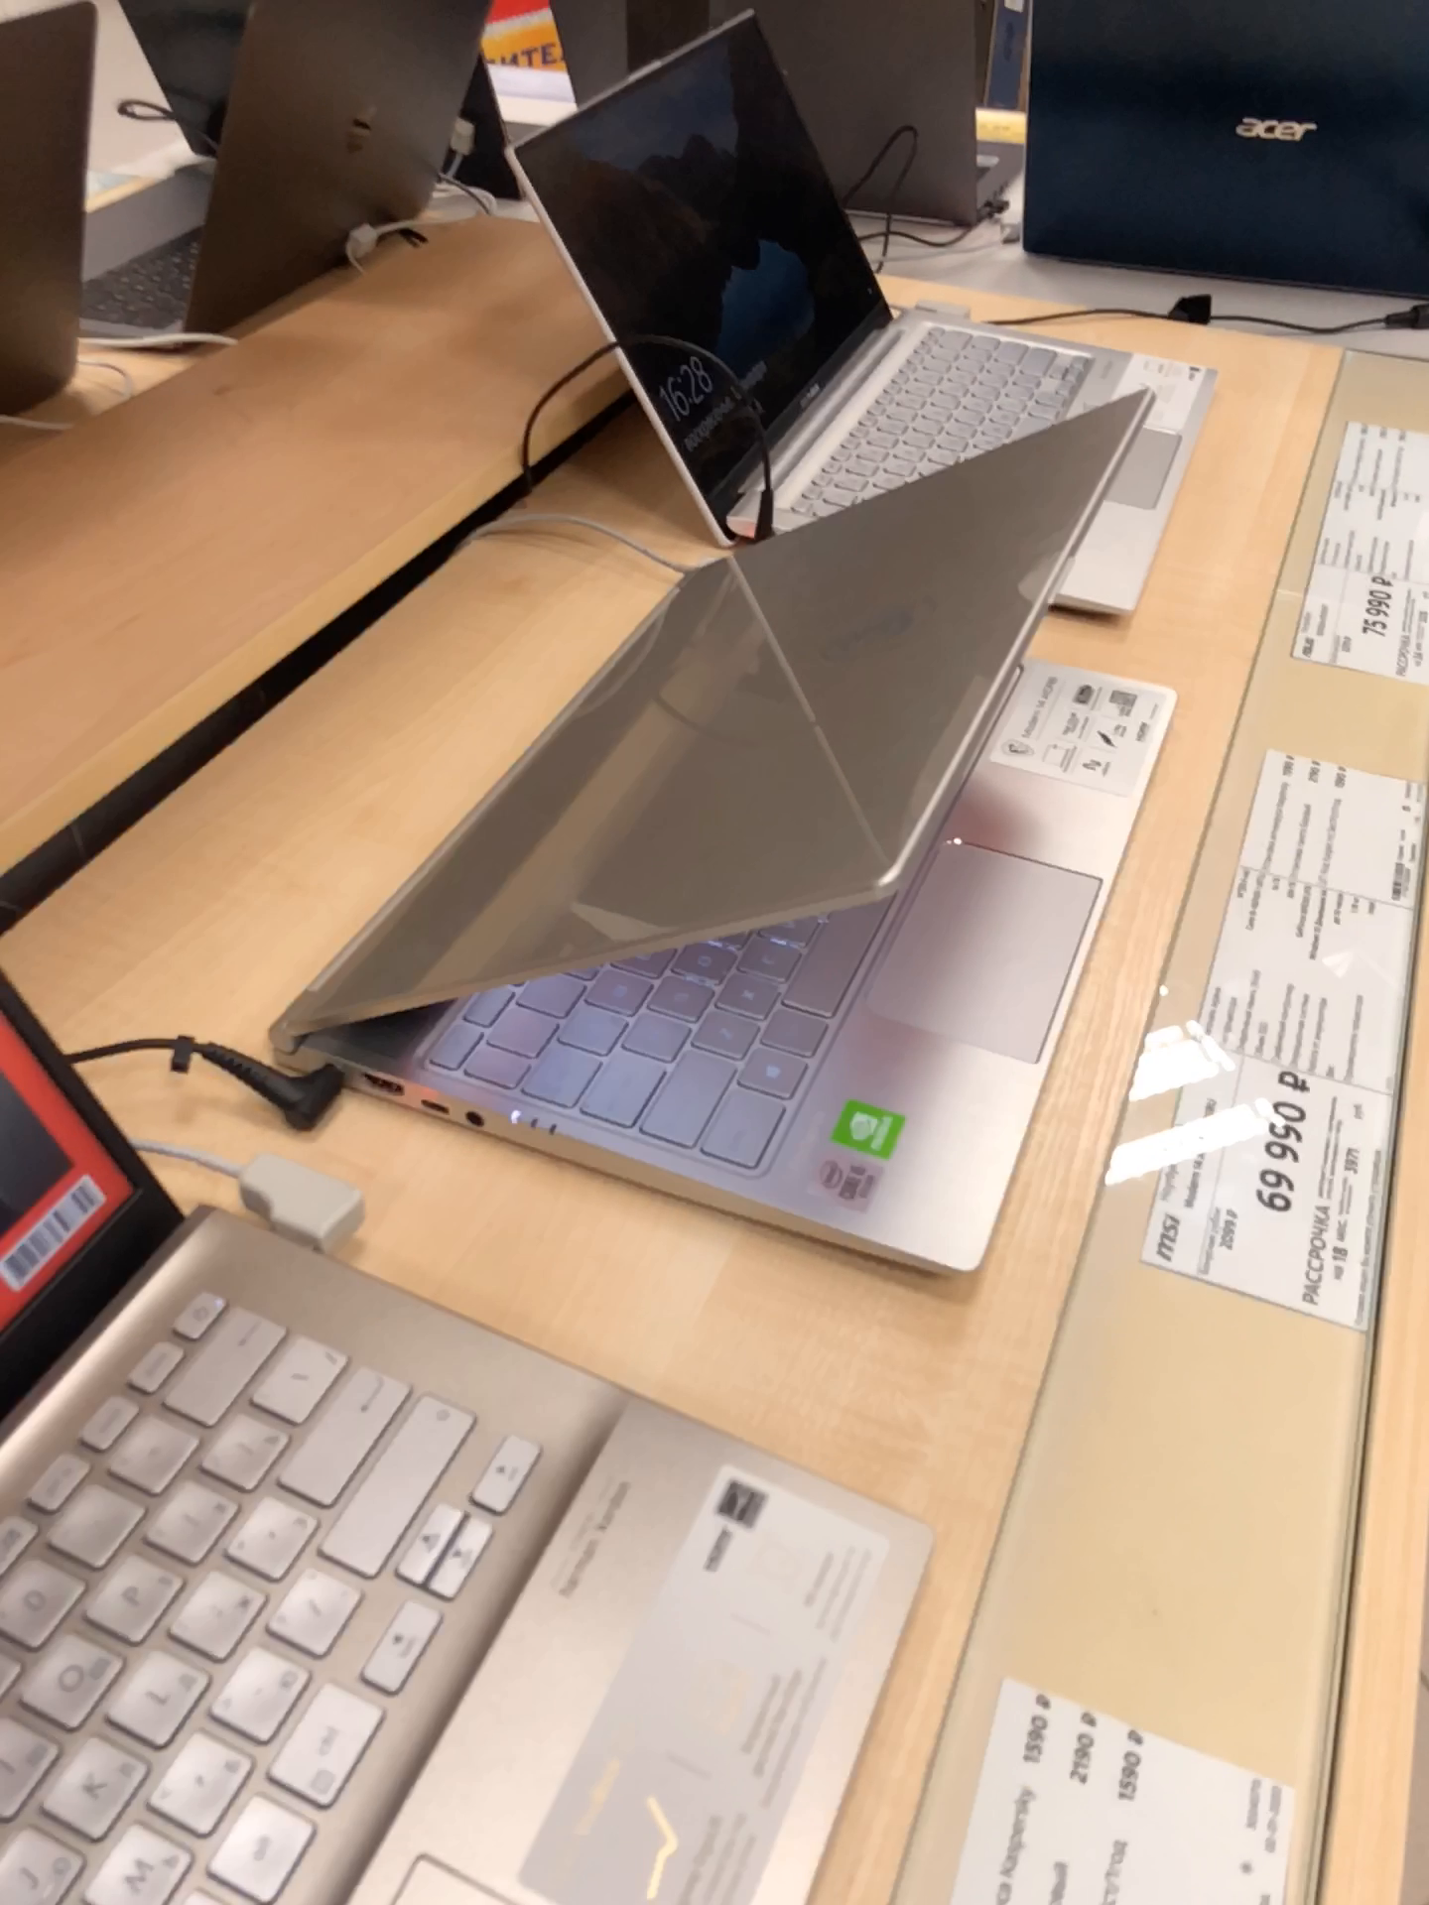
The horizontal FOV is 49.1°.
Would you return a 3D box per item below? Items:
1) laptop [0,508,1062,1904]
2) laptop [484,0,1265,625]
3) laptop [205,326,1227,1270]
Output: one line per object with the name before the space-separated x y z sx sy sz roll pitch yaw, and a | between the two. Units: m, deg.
laptop | -0.151 0.107 0.227 0.314 0.169 0.311 17 42 15
laptop | 0.099 -0.352 0.807 0.300 0.154 0.327 17 43 12
laptop | 0.028 -0.084 0.525 0.216 0.113 0.322 16 43 15
